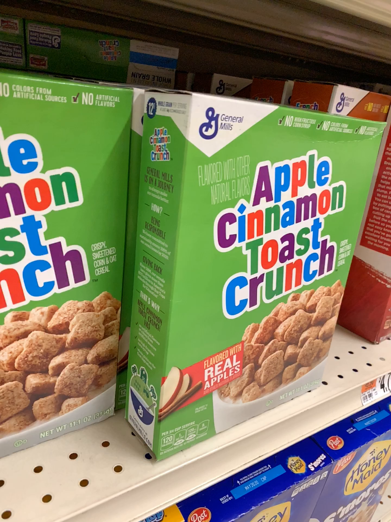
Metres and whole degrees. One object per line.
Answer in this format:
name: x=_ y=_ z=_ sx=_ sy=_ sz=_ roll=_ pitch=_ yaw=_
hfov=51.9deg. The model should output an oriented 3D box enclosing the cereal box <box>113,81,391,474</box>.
cereal box: x=0.050 y=0.013 z=0.336 sx=0.210 sy=0.269 sz=0.060 roll=-8 pitch=28 yaw=-36
